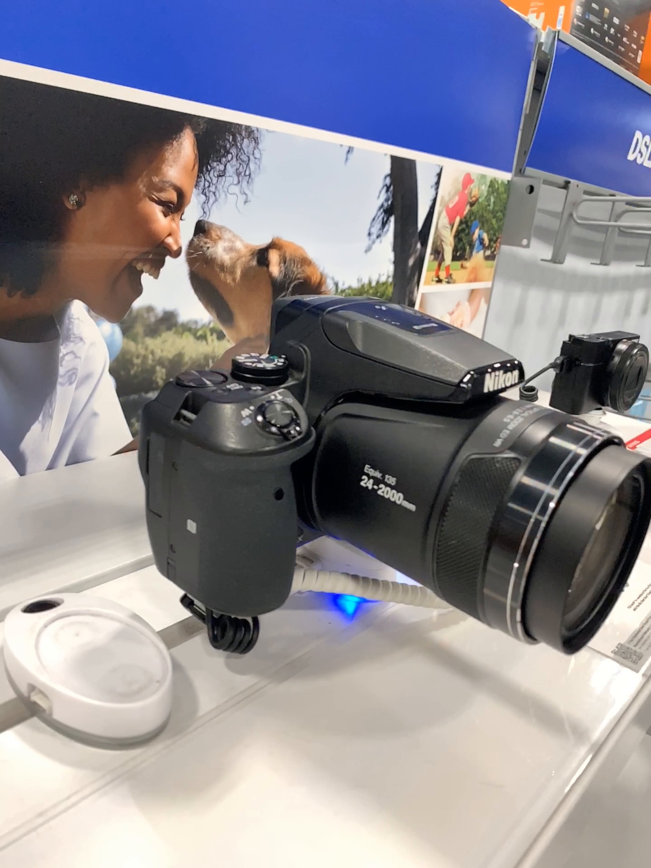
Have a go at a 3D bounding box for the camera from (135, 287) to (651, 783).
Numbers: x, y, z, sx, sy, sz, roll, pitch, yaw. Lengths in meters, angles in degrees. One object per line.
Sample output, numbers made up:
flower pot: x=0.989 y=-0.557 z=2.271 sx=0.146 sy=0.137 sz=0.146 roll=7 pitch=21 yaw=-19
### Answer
camera: x=0.034 y=0.007 z=0.250 sx=0.153 sy=0.100 sz=0.140 roll=20 pitch=22 yaw=38
